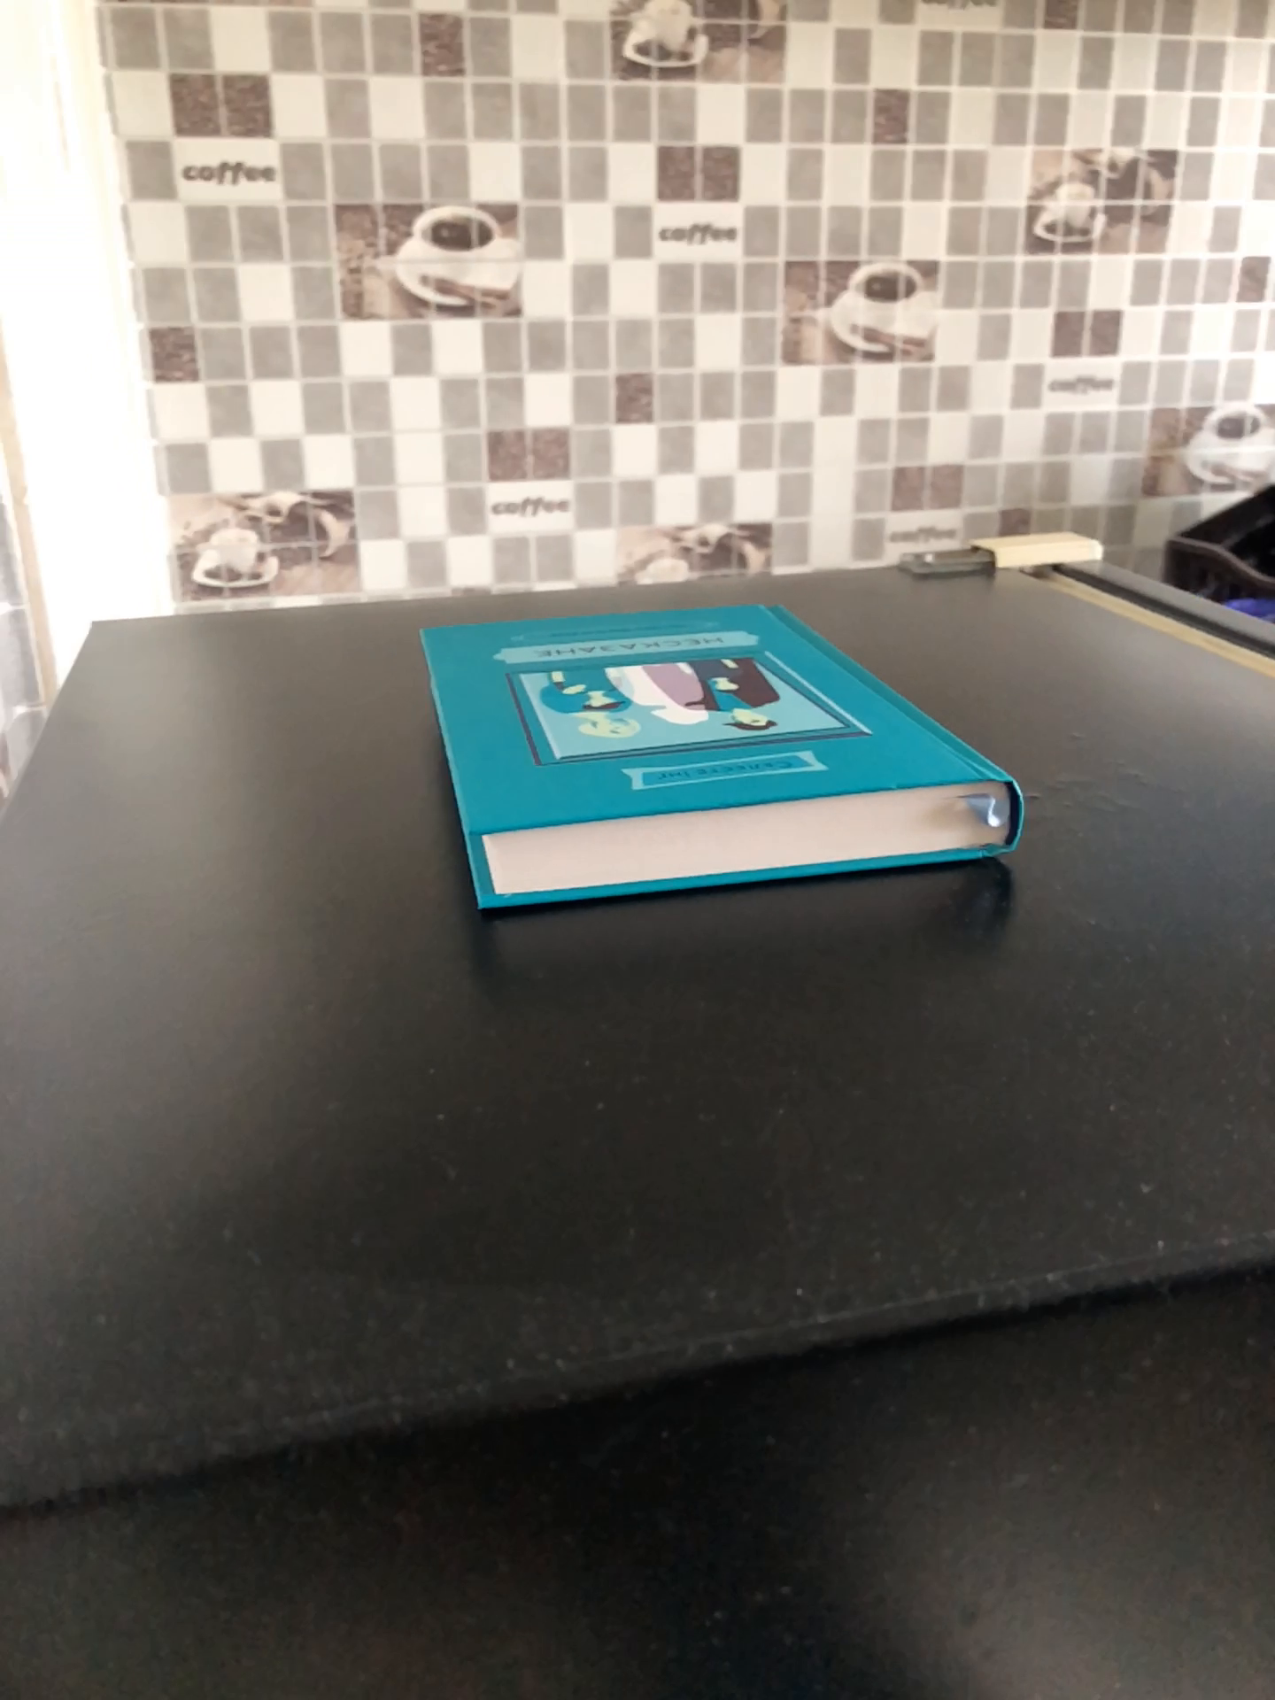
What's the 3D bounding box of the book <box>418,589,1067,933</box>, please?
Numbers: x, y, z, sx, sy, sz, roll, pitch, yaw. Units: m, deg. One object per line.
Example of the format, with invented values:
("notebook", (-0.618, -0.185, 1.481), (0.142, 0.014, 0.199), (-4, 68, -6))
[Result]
("book", (0.014, -0.042, 0.454), (0.151, 0.030, 0.221), (-6, 23, -11))
